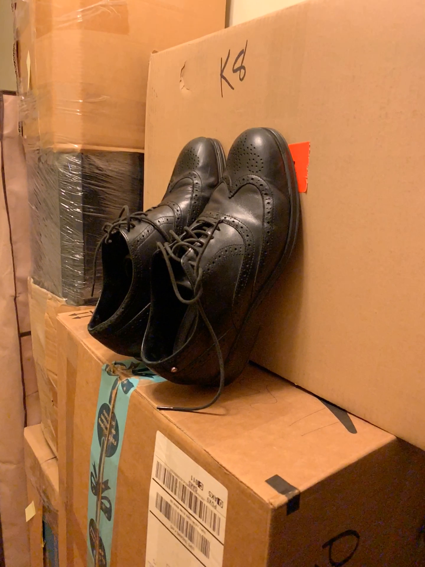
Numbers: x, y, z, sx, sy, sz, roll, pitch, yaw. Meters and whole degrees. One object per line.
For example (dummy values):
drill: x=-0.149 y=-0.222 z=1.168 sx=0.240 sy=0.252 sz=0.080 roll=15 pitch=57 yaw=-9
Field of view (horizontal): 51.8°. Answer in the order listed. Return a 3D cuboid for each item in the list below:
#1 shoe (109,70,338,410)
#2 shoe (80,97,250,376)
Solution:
shoe: x=0.006 y=-0.038 z=0.427 sx=0.100 sy=0.280 sz=0.120 roll=13 pitch=4 yaw=-41
shoe: x=-0.055 y=-0.047 z=0.510 sx=0.100 sy=0.280 sz=0.120 roll=14 pitch=-8 yaw=-43
